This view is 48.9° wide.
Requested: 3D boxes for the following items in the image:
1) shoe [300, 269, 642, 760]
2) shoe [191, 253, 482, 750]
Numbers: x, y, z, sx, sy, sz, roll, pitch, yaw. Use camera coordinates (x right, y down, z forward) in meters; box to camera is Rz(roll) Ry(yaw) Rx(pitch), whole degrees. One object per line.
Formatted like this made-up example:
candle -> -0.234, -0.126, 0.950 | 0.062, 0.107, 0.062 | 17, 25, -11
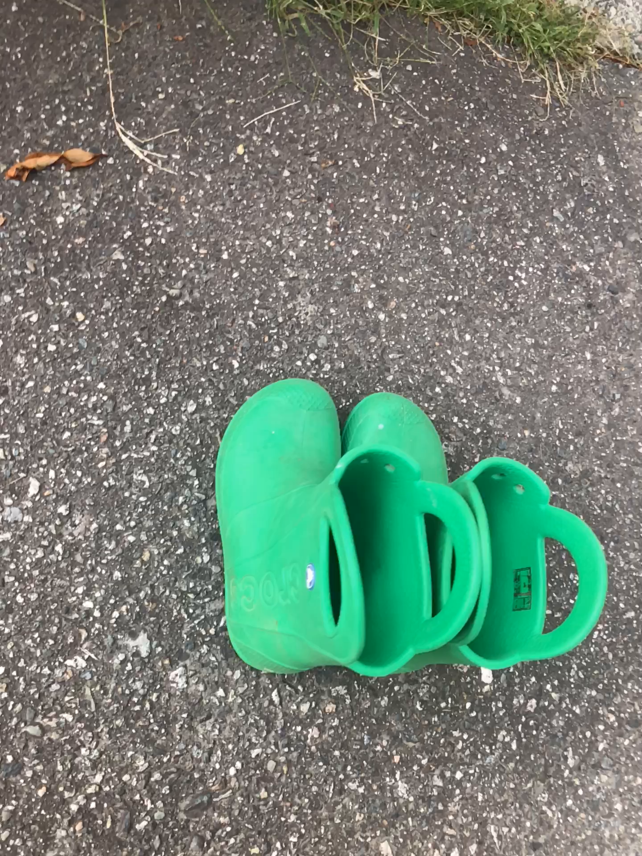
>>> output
shoe -> 0.084, 0.066, 0.512 | 0.110, 0.259, 0.260 | 7, 77, -19
shoe -> -0.003, 0.055, 0.479 | 0.110, 0.229, 0.250 | 7, 77, -19
